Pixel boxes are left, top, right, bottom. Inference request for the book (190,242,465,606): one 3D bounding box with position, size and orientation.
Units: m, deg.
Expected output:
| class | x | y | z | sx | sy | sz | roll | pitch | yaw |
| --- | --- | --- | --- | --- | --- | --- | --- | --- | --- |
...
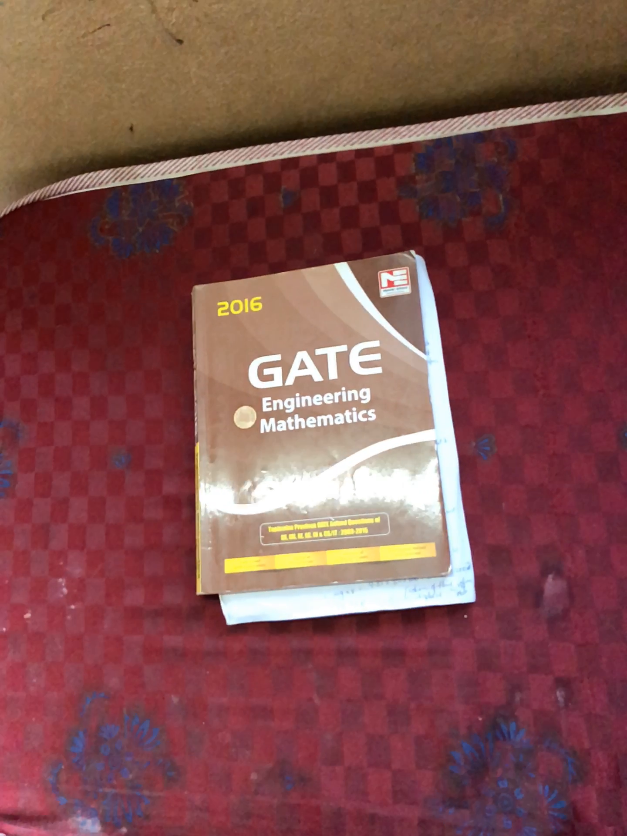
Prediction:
| class | x | y | z | sx | sy | sz | roll | pitch | yaw |
| --- | --- | --- | --- | --- | --- | --- | --- | --- | --- |
| book | 0.003 | 0.004 | 0.618 | 0.220 | 0.040 | 0.300 | -7 | 73 | 10 |
